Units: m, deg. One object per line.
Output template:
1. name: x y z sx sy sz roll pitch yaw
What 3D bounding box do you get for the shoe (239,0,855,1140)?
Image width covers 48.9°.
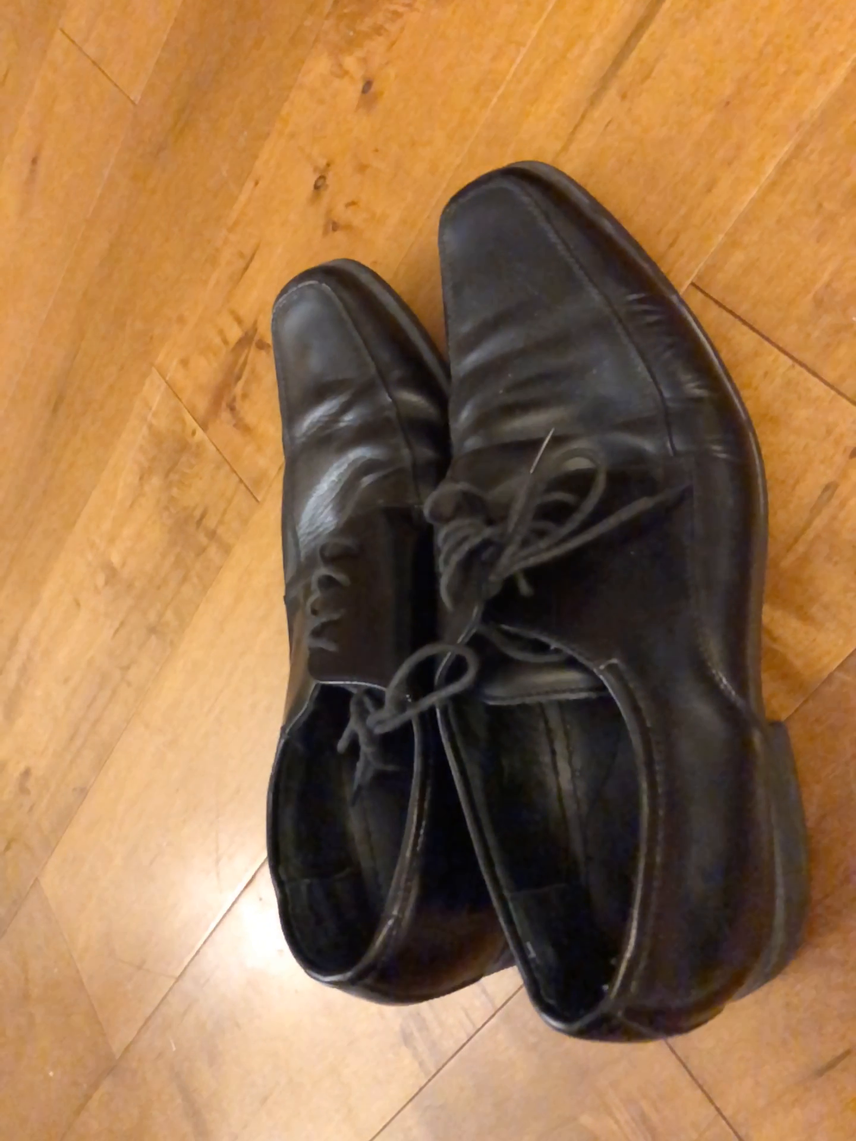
1. shoe: 0.048 -0.019 0.294 0.110 0.129 0.310 -20 75 38

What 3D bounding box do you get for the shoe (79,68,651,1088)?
1. shoe: -0.029 0.002 0.359 0.110 0.129 0.310 -20 75 38
